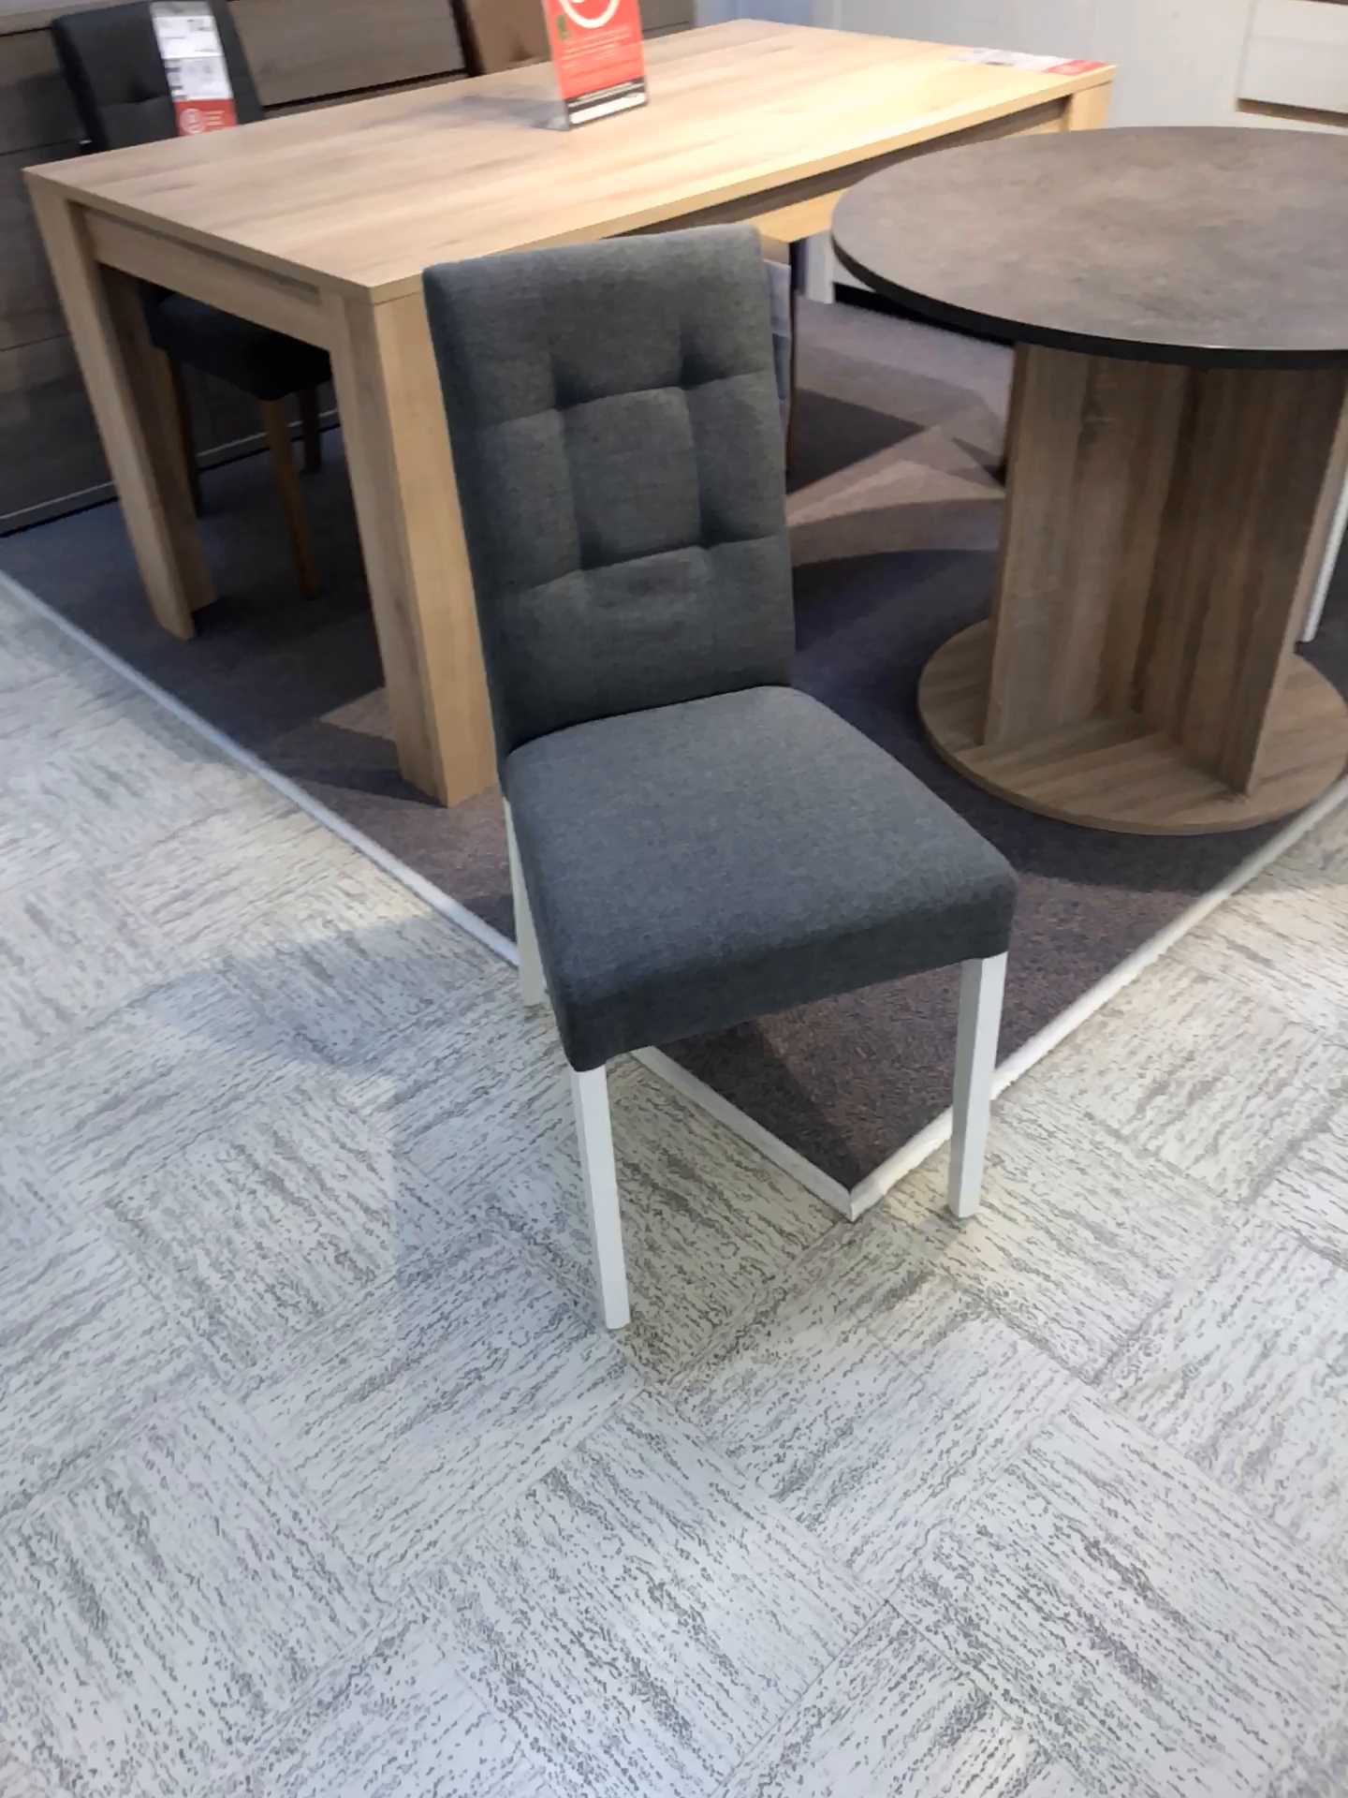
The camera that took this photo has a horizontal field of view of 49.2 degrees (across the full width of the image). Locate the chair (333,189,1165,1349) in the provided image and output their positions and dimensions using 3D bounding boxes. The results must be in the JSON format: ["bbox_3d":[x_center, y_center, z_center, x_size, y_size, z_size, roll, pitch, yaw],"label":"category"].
[{"bbox_3d":[0.025,-0.128,1.378,0.461,0.825,0.582,-13,39,-13],"label":"chair"}]
